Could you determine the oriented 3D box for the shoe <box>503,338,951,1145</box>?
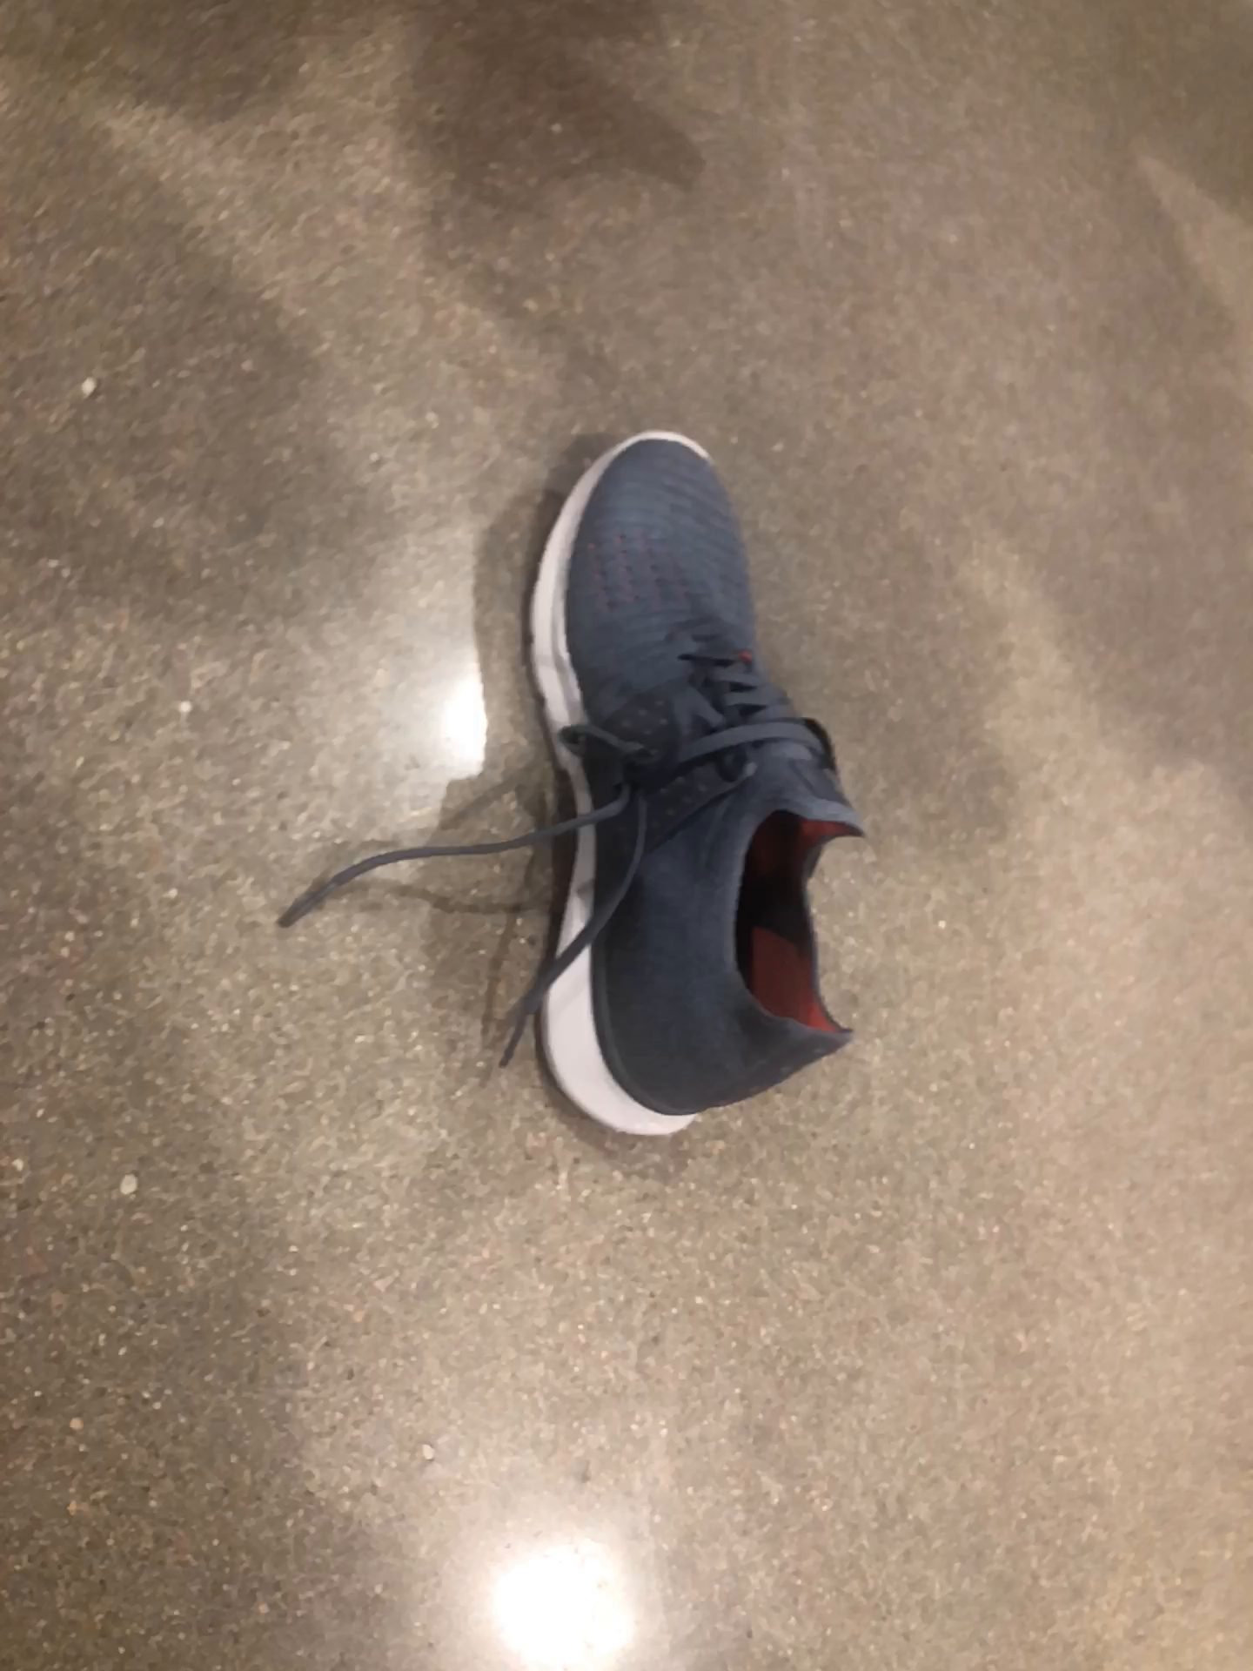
[{"bbox_3d":[0.032,-0.022,0.493,0.101,0.109,0.250,12,71,-38],"label":"shoe"}]
